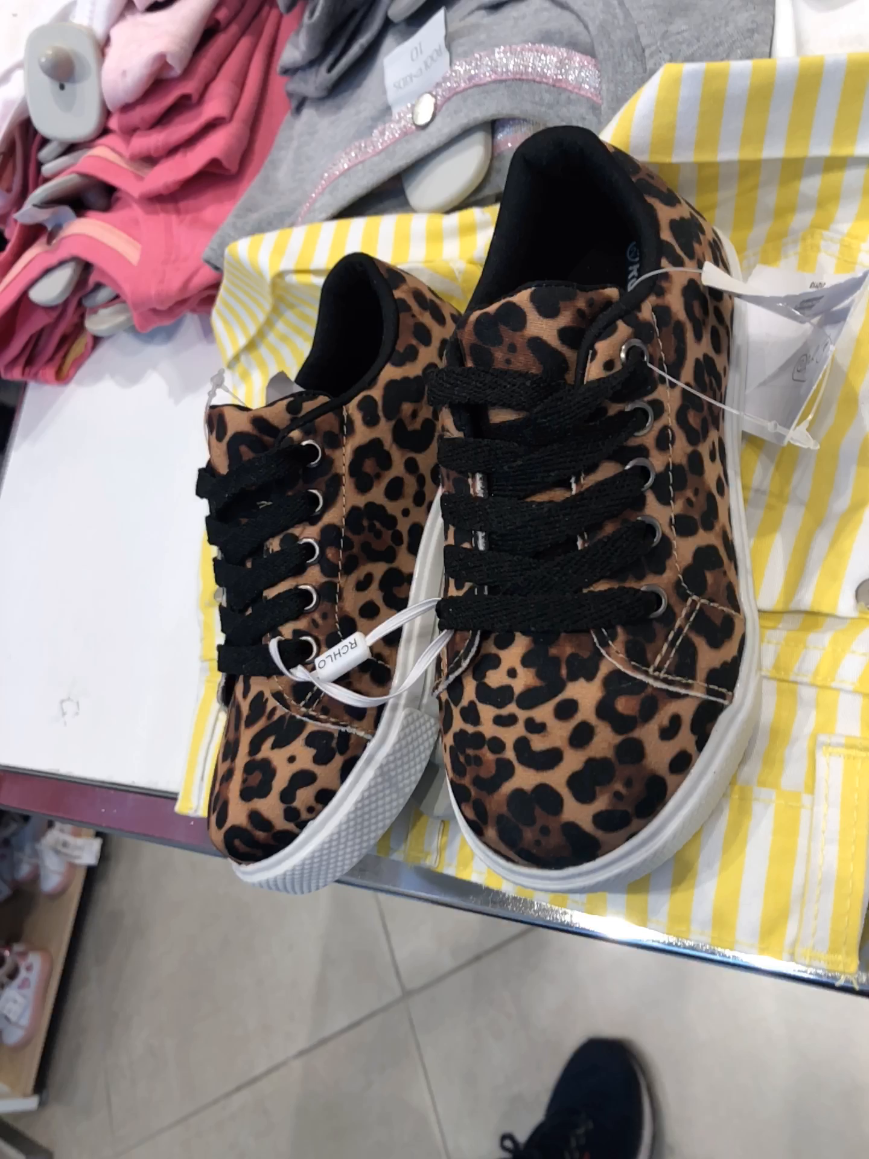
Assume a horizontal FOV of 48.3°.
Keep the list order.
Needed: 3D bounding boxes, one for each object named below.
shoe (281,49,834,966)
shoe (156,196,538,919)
[{"bbox_3d":[0.034,-0.012,0.229,0.080,0.080,0.170,1,78,38],"label":"shoe"},{"bbox_3d":[-0.026,-0.002,0.274,0.080,0.060,0.170,-15,66,64],"label":"shoe"}]
